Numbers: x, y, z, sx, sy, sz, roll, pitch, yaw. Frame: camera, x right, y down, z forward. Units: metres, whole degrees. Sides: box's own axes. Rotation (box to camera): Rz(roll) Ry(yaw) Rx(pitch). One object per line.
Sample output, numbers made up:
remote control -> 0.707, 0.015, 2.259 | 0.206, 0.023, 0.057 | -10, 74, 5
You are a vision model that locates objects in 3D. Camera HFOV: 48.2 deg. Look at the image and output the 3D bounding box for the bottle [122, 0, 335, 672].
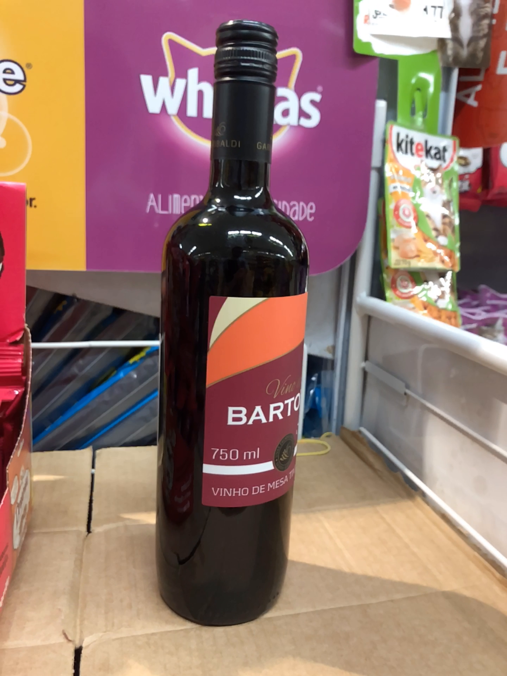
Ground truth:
bottle -> -0.016, 0.005, 0.293 | 0.060, 0.299, 0.080 | 12, 15, 38
